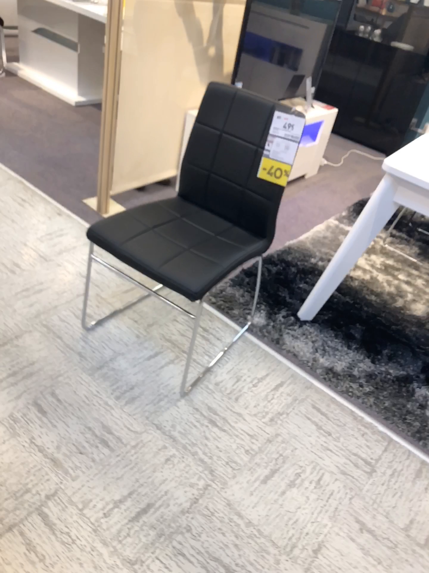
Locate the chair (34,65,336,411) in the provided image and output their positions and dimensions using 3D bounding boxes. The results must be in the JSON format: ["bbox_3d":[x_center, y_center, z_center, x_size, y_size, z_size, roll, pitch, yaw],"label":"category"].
[{"bbox_3d":[-0.119,-0.197,1.511,0.550,0.795,0.634,32,39,25],"label":"chair"}]
